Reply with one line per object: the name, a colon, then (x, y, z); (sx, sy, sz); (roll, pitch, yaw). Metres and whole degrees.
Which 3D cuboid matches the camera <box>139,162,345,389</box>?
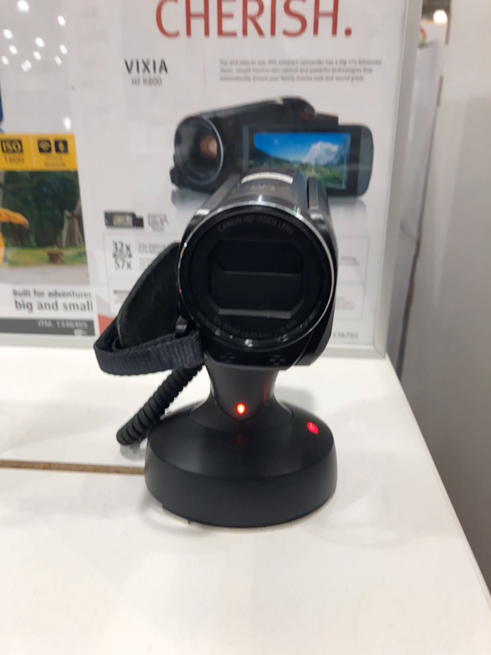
camera: (0.004, -0.033, 0.231); (0.060, 0.060, 0.130); (2, 21, 5)
